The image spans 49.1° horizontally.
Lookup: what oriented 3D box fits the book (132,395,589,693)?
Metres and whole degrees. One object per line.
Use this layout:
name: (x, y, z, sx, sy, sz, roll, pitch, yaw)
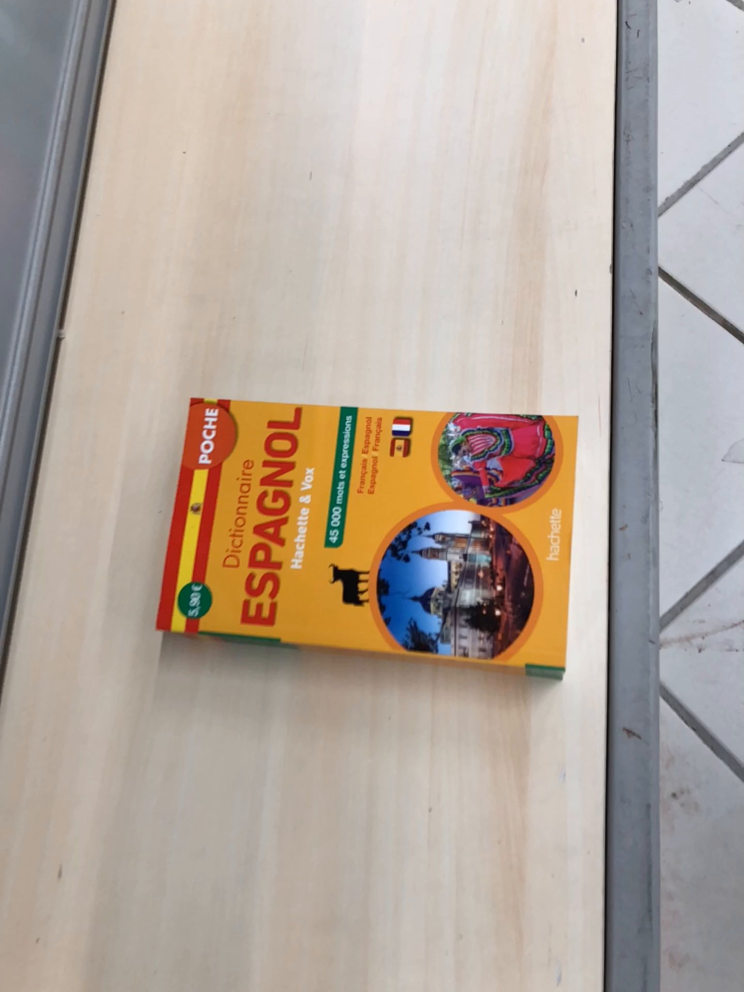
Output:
book: (-0.003, 0.019, 0.372, 0.190, 0.040, 0.117, 4, 76, 12)
